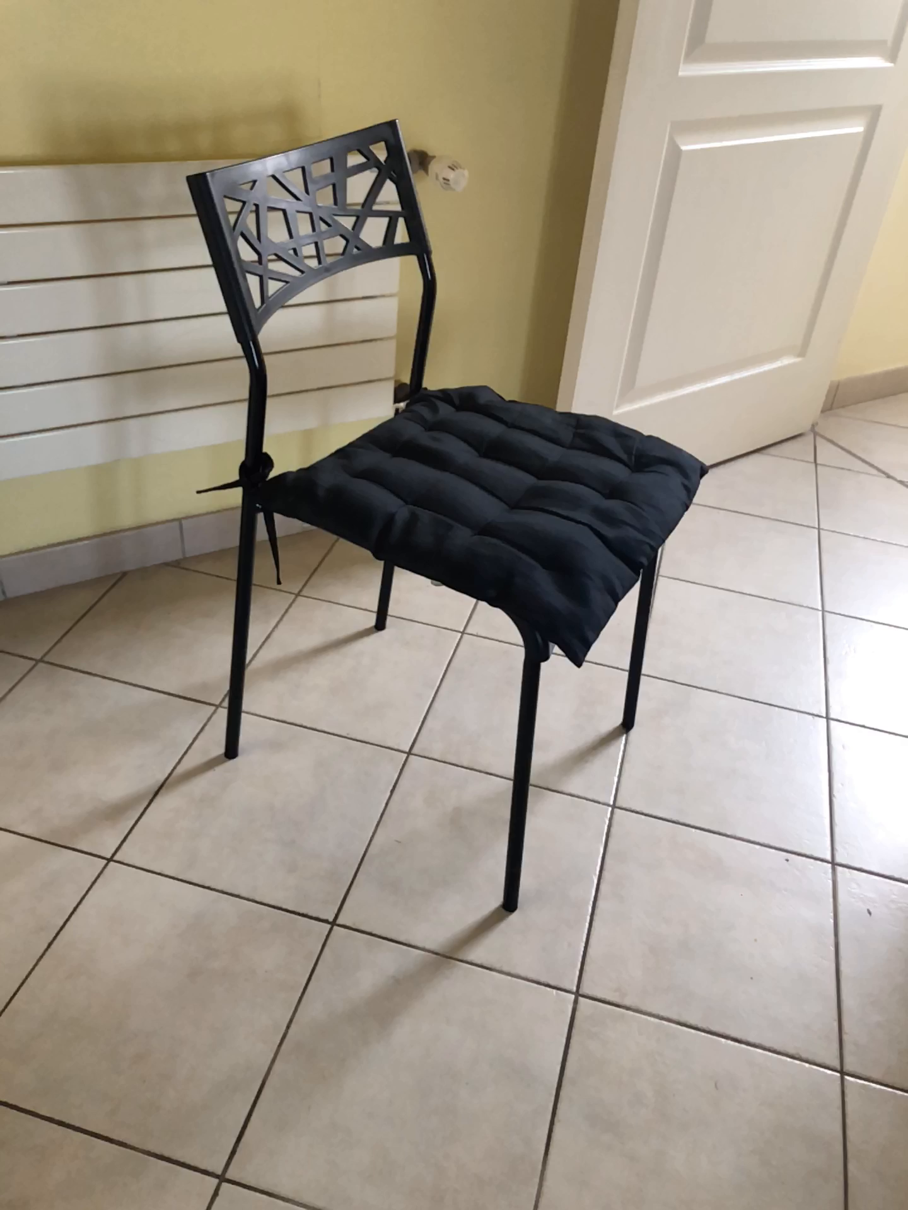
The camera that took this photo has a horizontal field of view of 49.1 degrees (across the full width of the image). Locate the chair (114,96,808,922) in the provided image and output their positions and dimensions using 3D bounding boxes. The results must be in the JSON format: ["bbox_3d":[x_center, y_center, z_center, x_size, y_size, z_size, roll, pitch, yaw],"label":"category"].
[{"bbox_3d":[0.013,-0.143,1.221,0.520,0.735,0.524,21,39,20],"label":"chair"}]
